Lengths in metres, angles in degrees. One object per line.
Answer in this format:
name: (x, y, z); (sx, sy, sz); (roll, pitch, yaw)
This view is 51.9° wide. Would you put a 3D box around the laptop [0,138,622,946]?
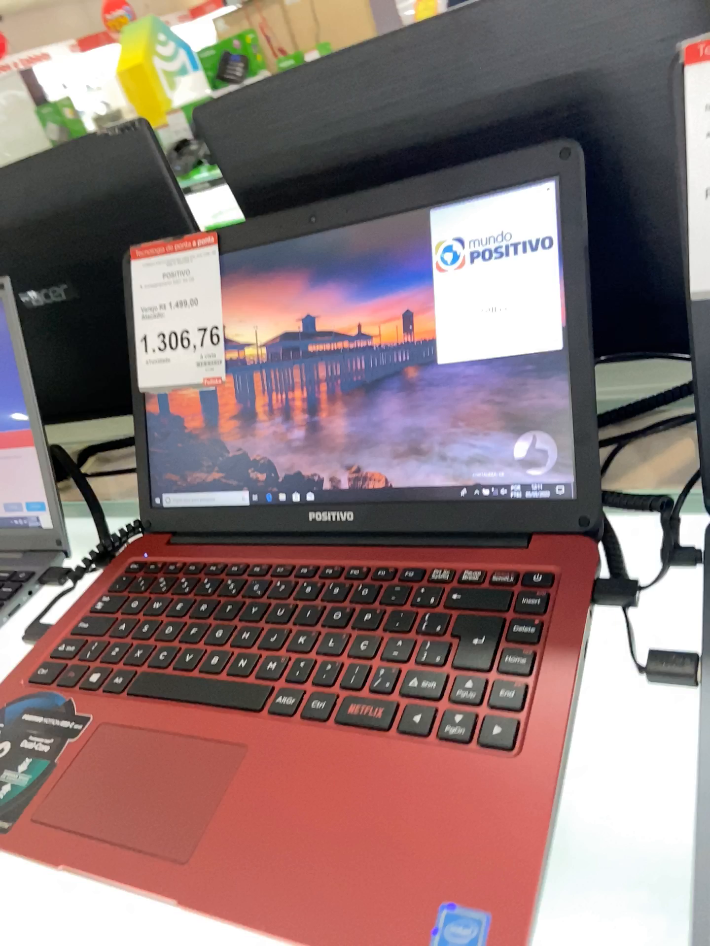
laptop: (-0.062, 0.000, 0.373); (0.321, 0.167, 0.334); (-3, 34, 29)
